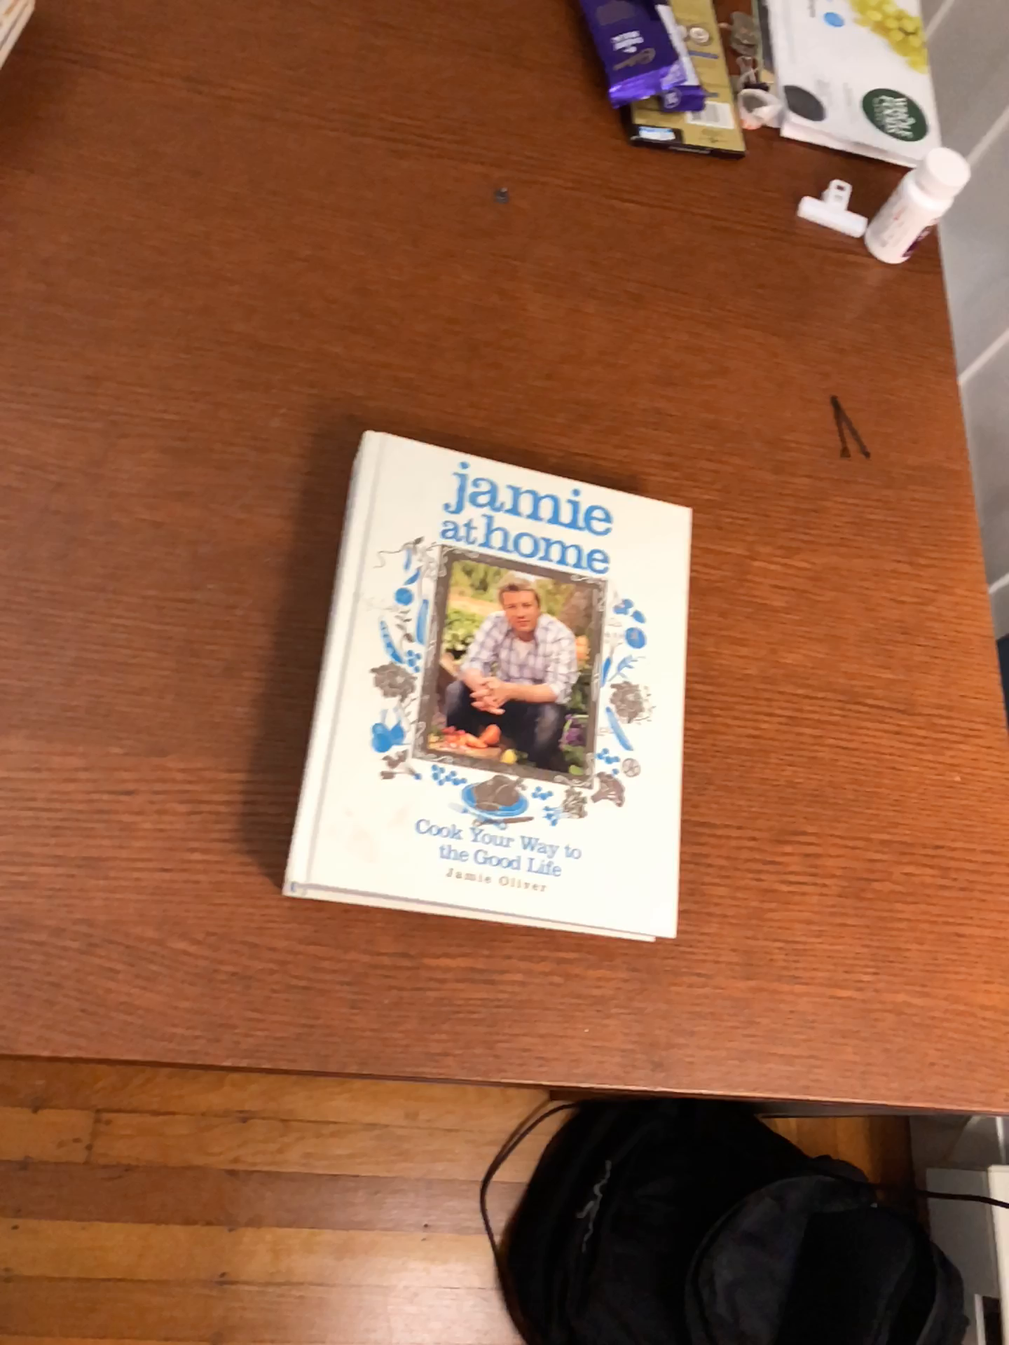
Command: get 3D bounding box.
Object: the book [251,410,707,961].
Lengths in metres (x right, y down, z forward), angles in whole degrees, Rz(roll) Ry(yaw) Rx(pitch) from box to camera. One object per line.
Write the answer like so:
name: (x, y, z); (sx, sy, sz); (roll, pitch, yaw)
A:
book: (-0.002, 0.003, 0.588); (0.210, 0.040, 0.261); (11, 66, -11)
